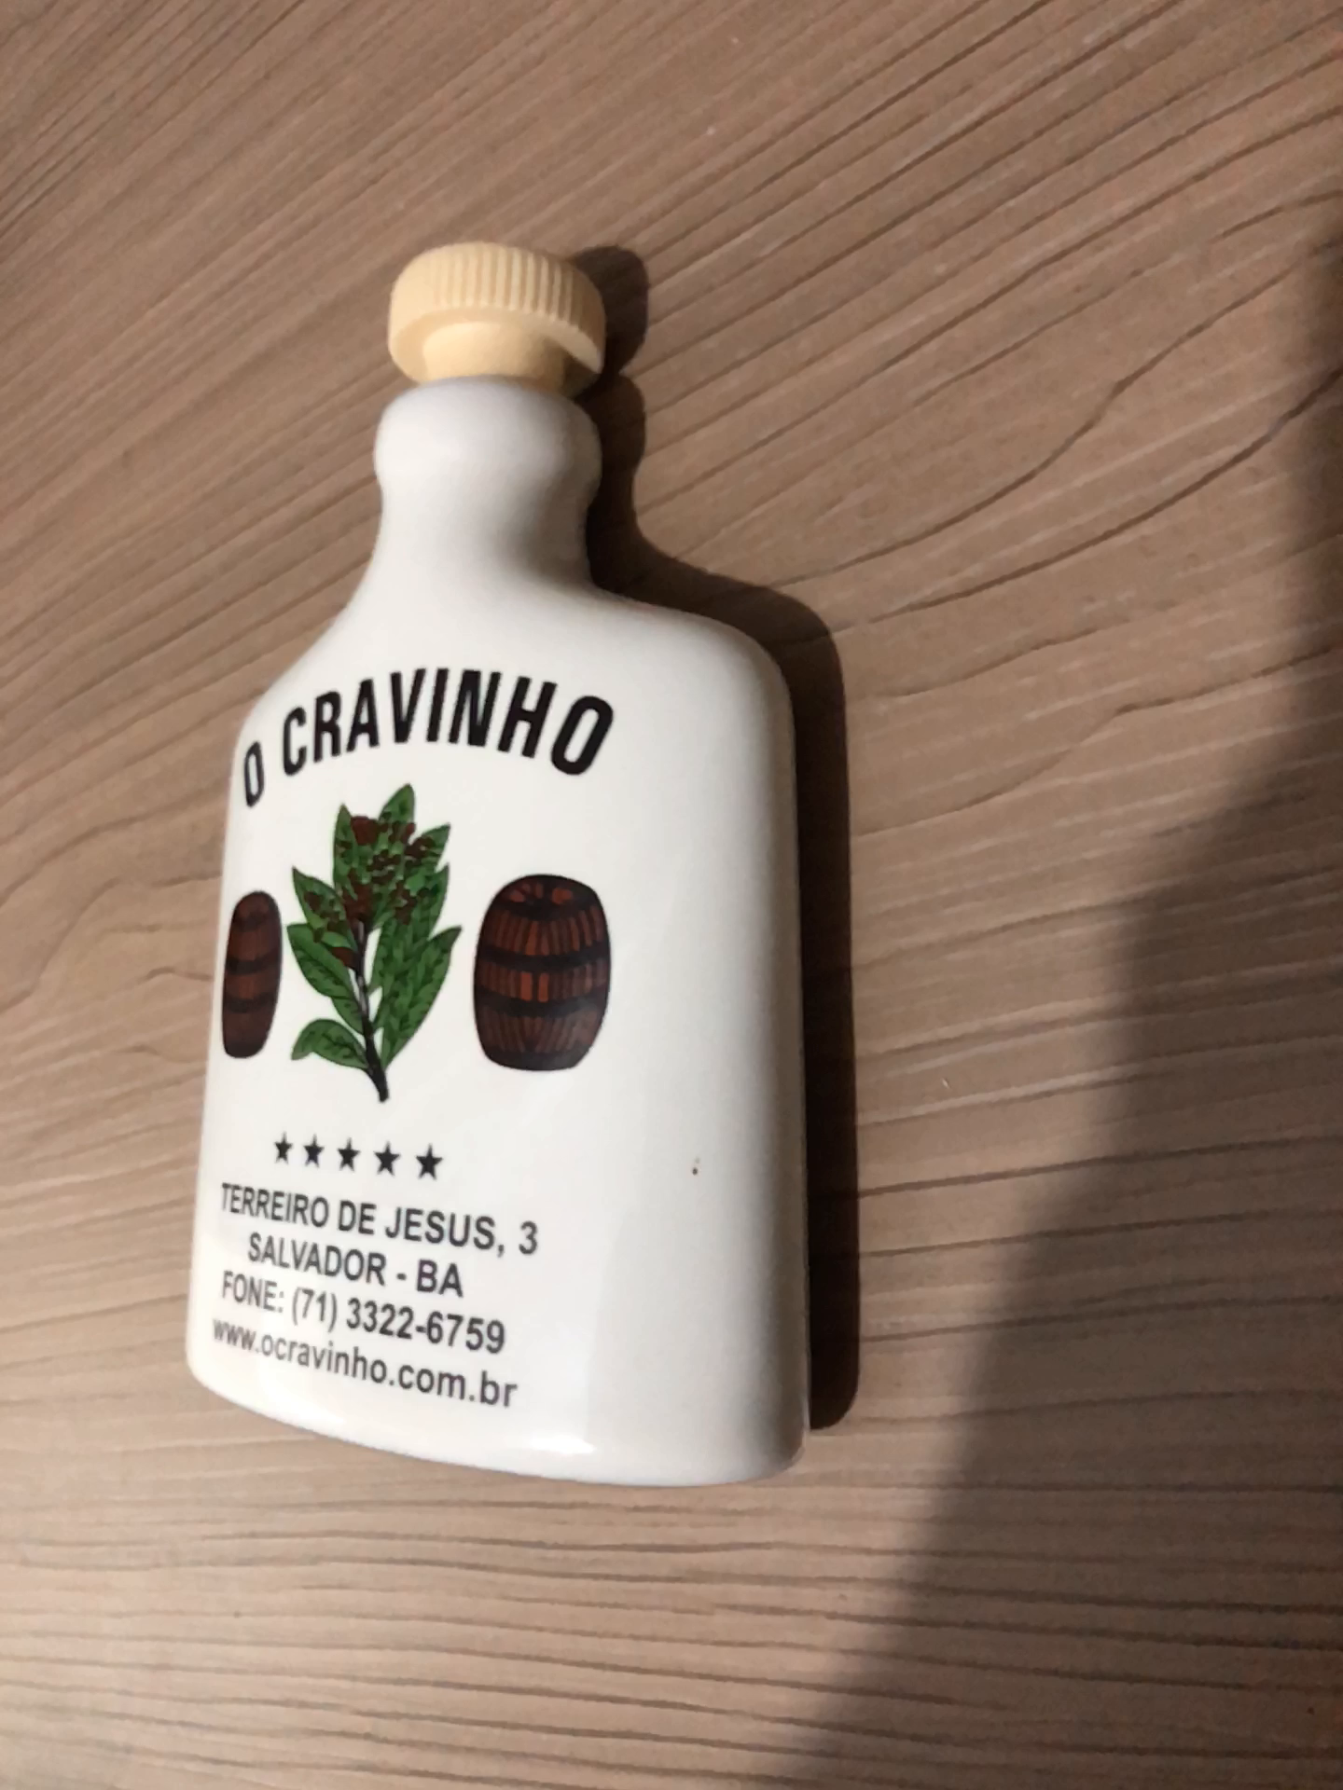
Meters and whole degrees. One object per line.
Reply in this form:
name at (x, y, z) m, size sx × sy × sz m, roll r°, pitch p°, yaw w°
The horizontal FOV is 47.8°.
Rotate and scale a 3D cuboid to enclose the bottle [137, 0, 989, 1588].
bottle at (-0.016, -0.014, 0.188) m, size 0.100 × 0.040 × 0.160 m, roll -4°, pitch 83°, yaw 38°
